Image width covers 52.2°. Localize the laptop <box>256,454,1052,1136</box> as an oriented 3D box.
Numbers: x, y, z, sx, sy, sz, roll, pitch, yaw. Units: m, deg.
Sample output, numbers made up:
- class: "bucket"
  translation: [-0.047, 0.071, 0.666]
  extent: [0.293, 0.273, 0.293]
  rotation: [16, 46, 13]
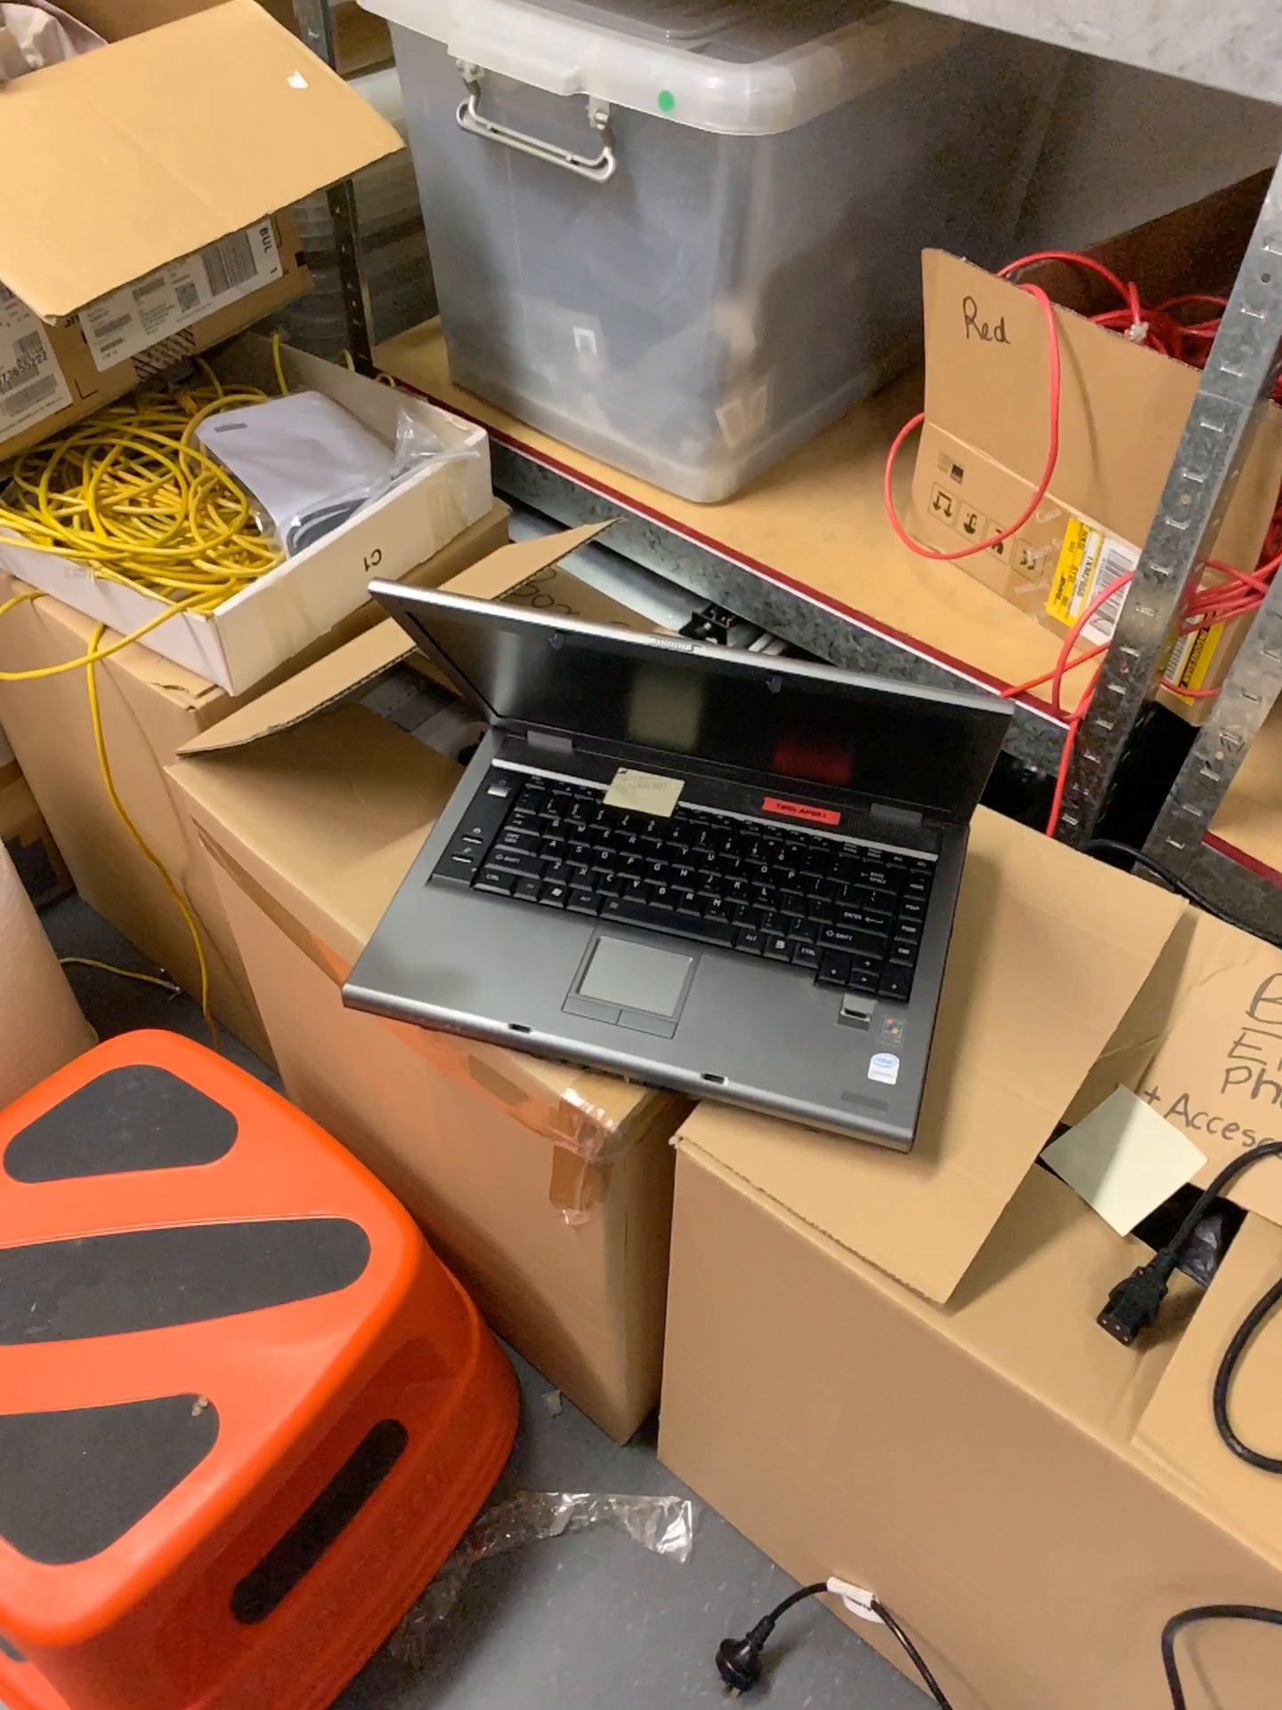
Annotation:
- class: "laptop"
  translation: [0.019, -0.046, 0.775]
  extent: [0.360, 0.238, 0.263]
  rotation: [13, 47, 12]
